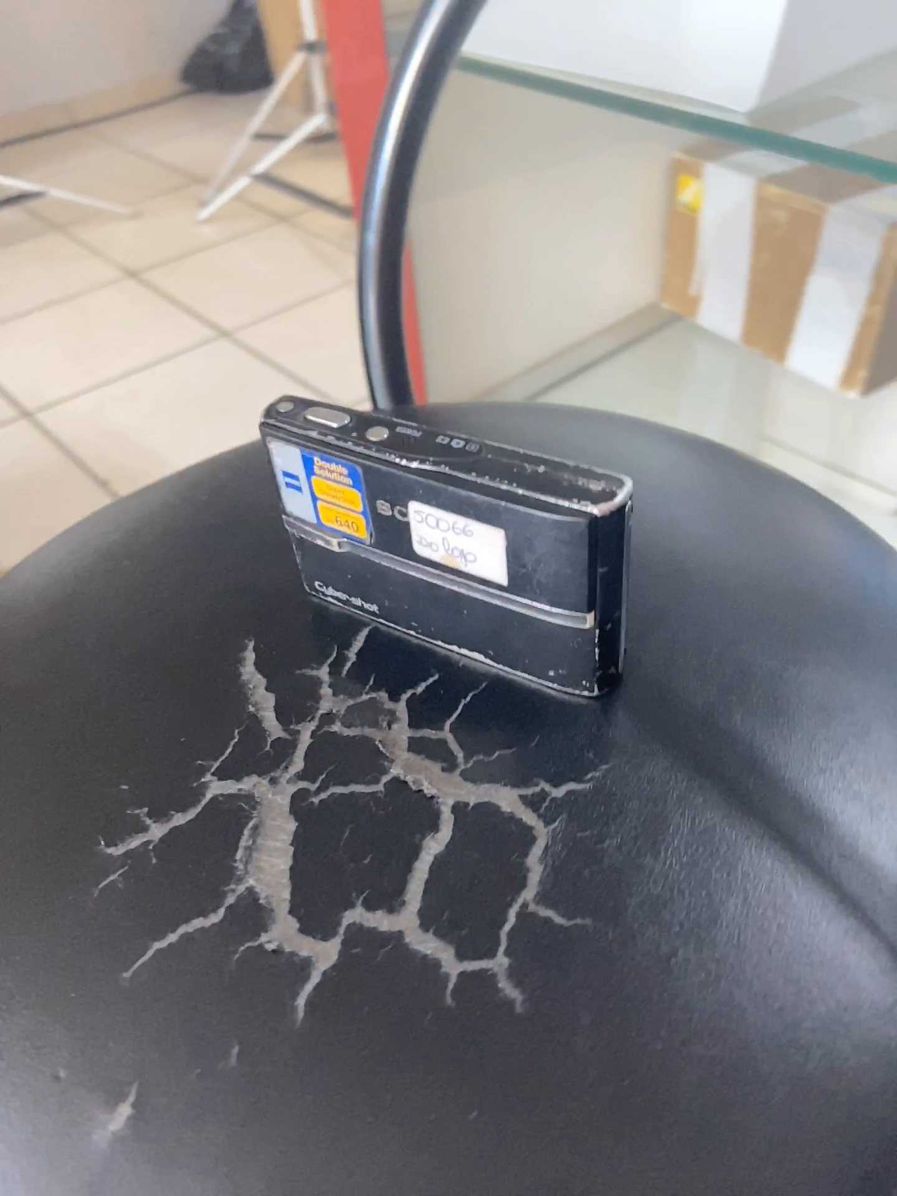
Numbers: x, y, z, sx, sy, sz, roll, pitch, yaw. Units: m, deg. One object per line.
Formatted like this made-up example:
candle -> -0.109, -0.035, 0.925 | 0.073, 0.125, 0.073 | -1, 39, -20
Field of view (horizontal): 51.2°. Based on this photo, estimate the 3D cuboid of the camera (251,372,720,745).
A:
camera -> 0.006, -0.010, 0.214 | 0.100, 0.060, 0.020 | 19, 48, 25
